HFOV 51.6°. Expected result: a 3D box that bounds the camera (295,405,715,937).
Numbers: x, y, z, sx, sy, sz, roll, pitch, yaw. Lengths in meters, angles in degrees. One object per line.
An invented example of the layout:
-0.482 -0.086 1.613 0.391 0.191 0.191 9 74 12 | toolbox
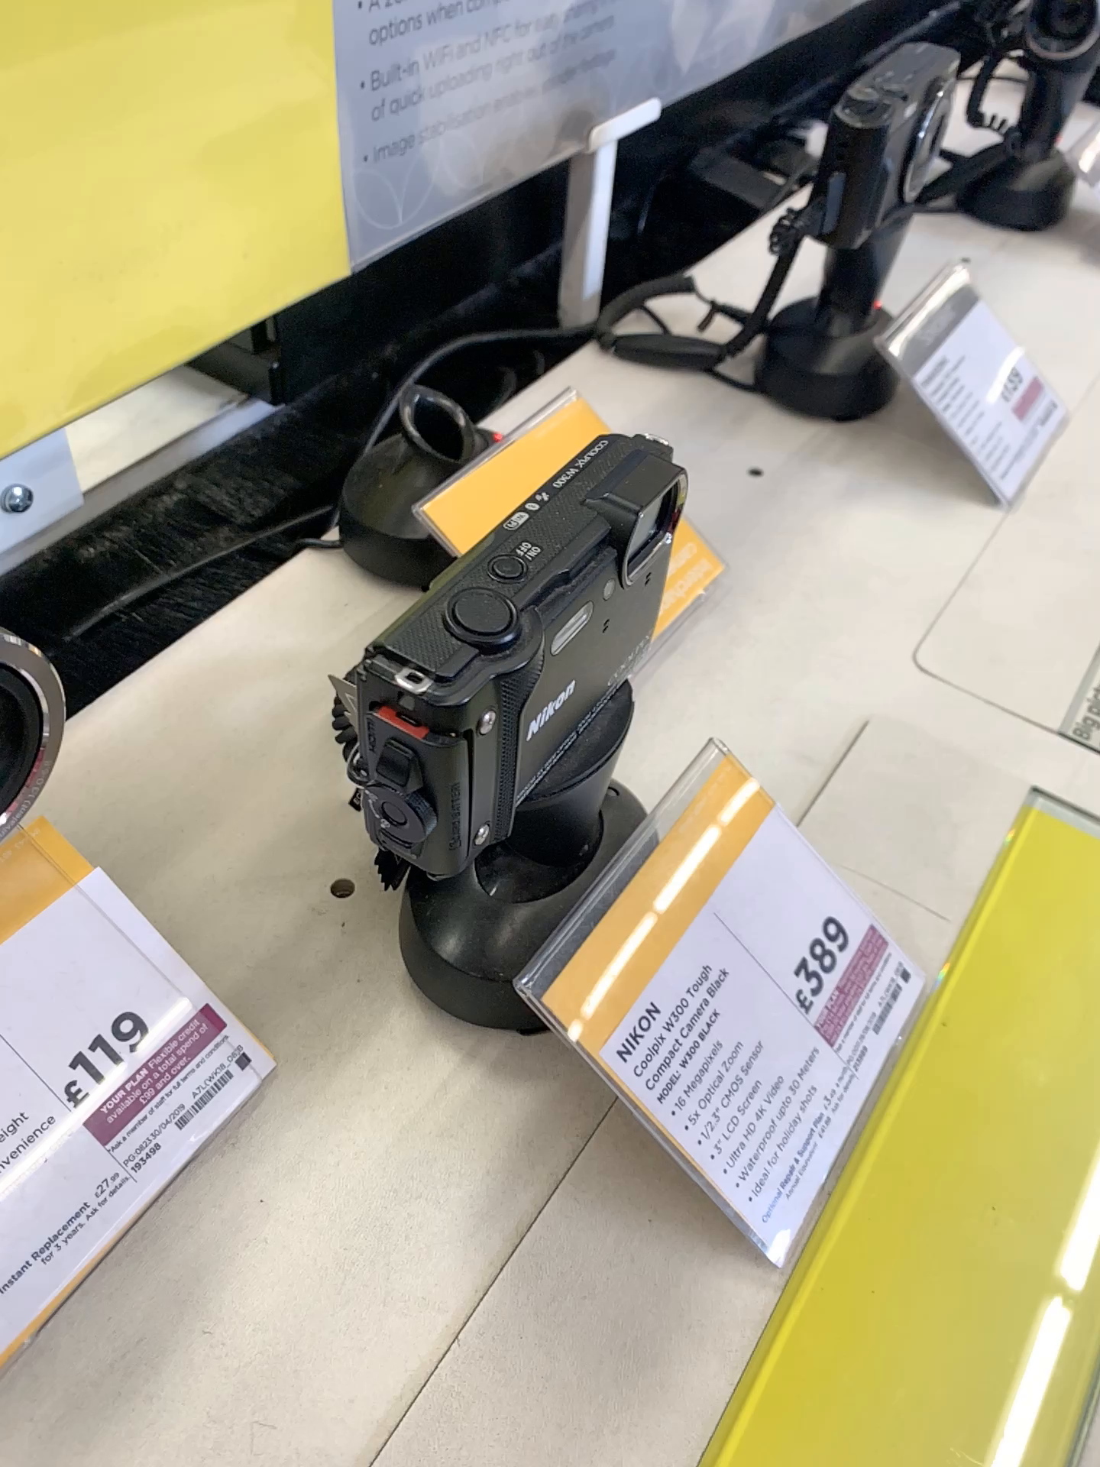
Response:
-0.007 -0.019 0.277 0.030 0.069 0.121 28 51 18 | camera
